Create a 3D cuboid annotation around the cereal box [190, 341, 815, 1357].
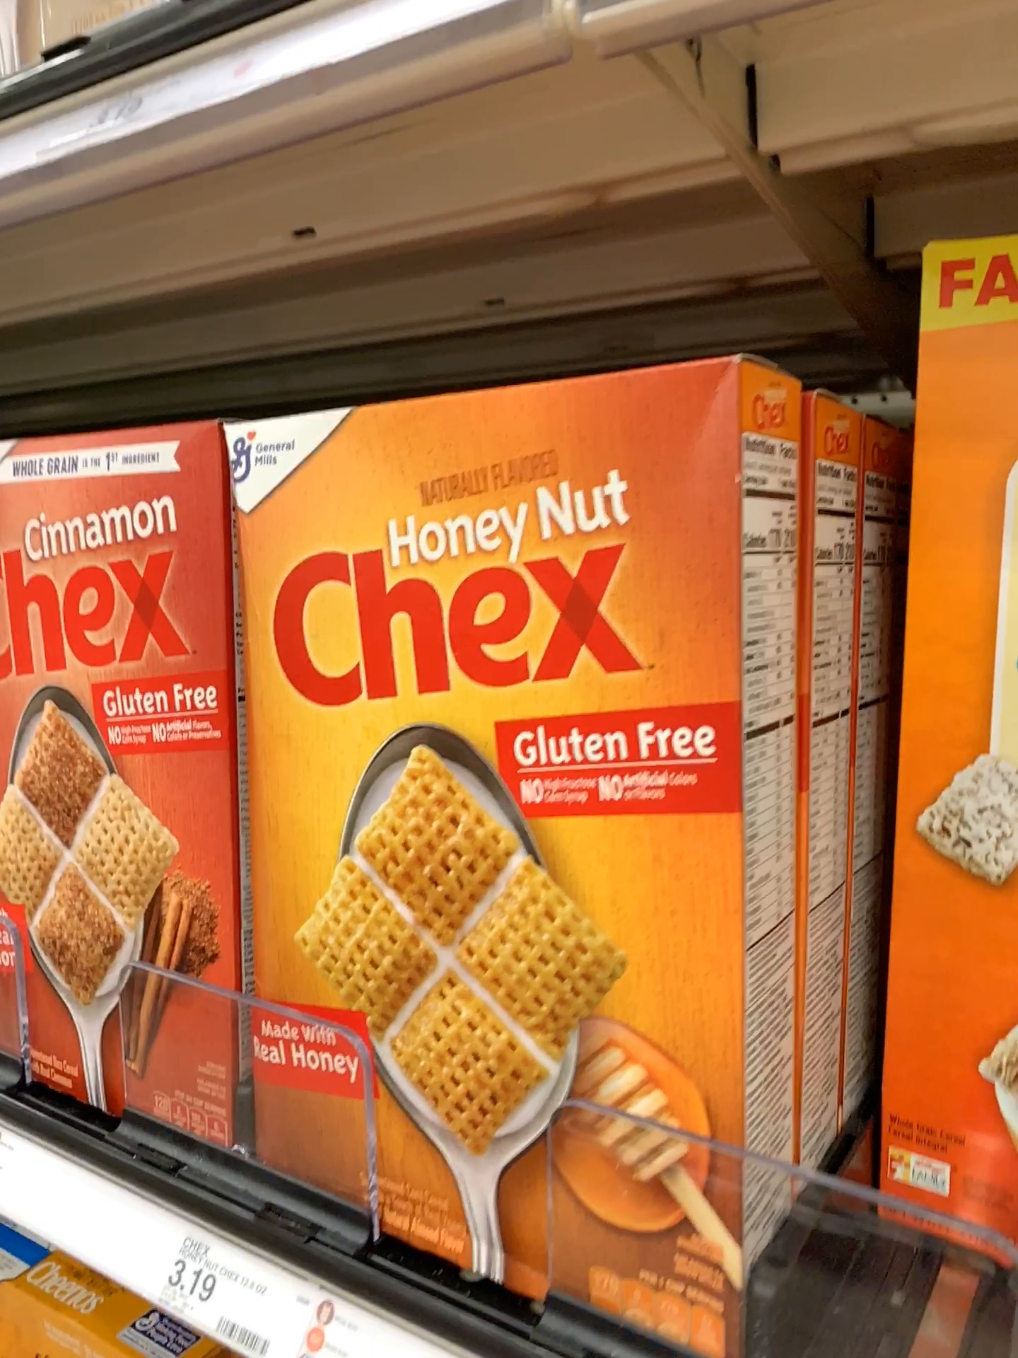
[{"bbox_3d":[-0.008,0.045,0.356,0.200,0.279,0.060,4,9,32],"label":"cereal box"}]
